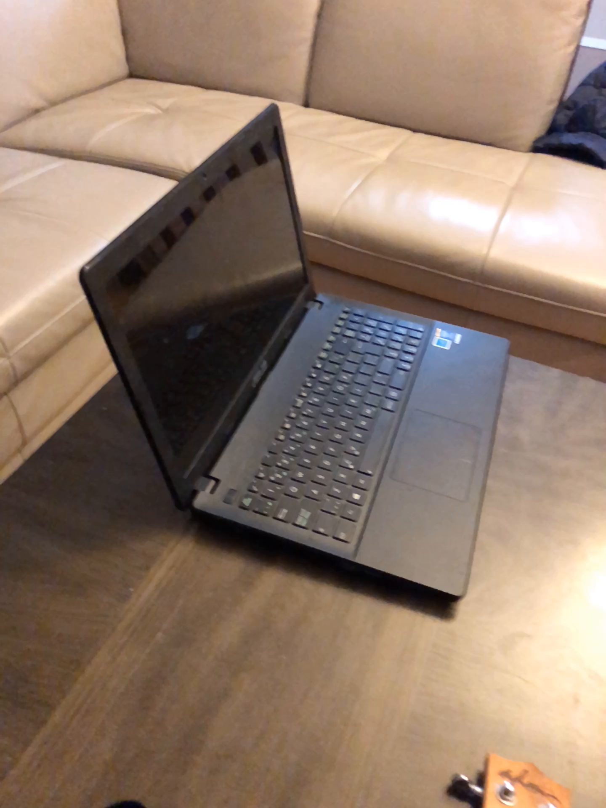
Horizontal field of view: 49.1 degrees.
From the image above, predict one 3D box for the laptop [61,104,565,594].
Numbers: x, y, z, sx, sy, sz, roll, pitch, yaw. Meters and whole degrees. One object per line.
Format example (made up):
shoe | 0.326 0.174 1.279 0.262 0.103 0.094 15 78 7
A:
laptop | 0.043 -0.081 0.615 0.315 0.216 0.357 16 43 10
